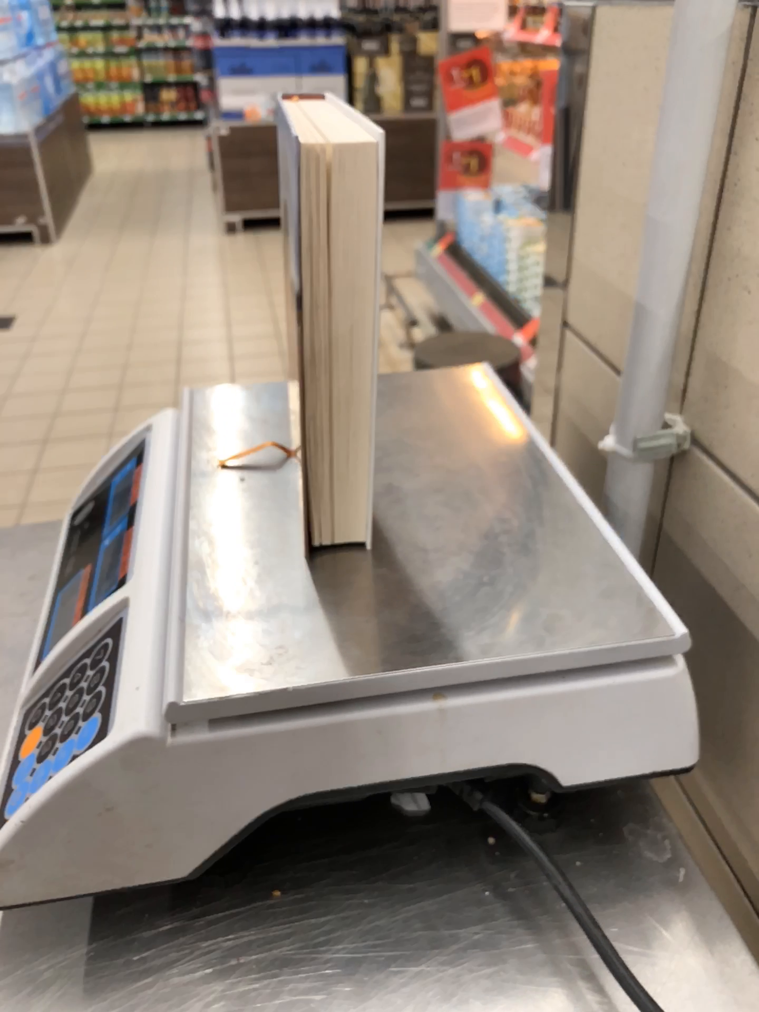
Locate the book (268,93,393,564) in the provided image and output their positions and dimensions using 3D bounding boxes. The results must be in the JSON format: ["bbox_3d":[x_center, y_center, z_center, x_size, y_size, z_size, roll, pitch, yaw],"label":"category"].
[{"bbox_3d":[-0.027,-0.089,0.407,0.037,0.186,0.137,-4,31,-9],"label":"book"}]
